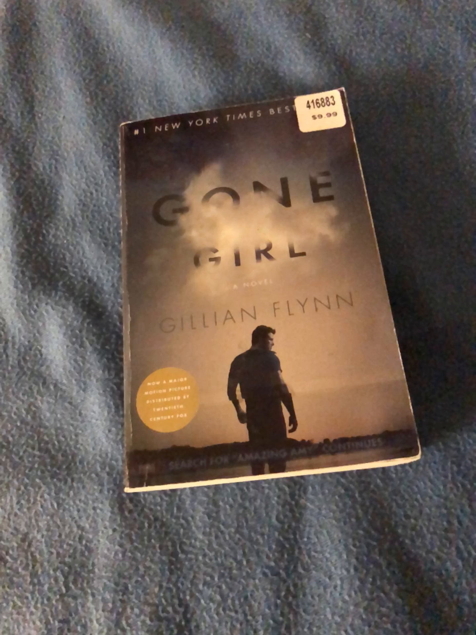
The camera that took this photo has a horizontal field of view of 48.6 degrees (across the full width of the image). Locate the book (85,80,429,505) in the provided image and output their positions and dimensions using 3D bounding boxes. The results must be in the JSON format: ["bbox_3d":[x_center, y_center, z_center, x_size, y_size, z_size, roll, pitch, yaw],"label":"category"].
[{"bbox_3d":[-0.002,-0.018,0.271,0.140,0.040,0.200,-8,69,3],"label":"book"}]
